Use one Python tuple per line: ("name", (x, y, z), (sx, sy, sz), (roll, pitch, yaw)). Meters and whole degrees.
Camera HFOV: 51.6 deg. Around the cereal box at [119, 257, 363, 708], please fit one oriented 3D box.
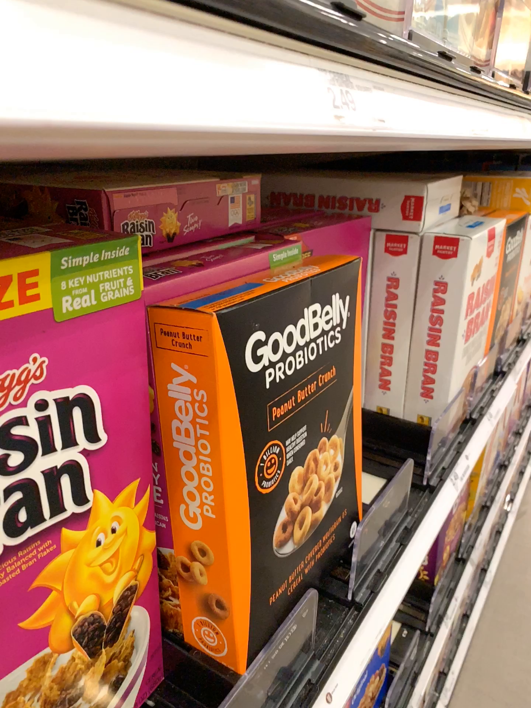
("cereal box", (0.006, 0.072, 0.396), (0.050, 0.249, 0.201), (7, 21, 31))
